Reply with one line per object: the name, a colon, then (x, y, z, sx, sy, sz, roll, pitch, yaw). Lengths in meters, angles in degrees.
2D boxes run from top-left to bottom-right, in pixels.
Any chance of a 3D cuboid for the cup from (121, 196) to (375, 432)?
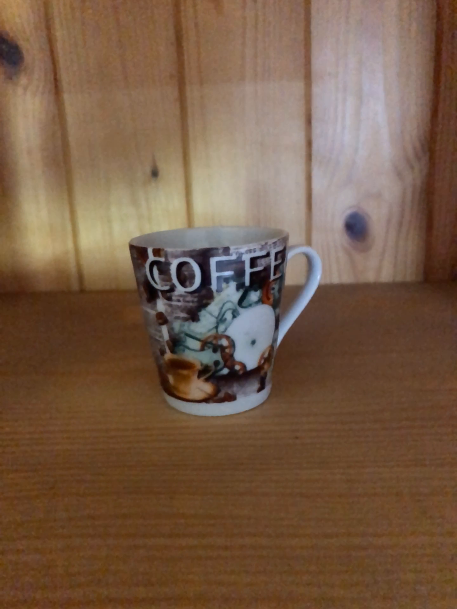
cup: (0.004, -0.003, 0.201, 0.080, 0.070, 0.060, -7, 15, -15)
